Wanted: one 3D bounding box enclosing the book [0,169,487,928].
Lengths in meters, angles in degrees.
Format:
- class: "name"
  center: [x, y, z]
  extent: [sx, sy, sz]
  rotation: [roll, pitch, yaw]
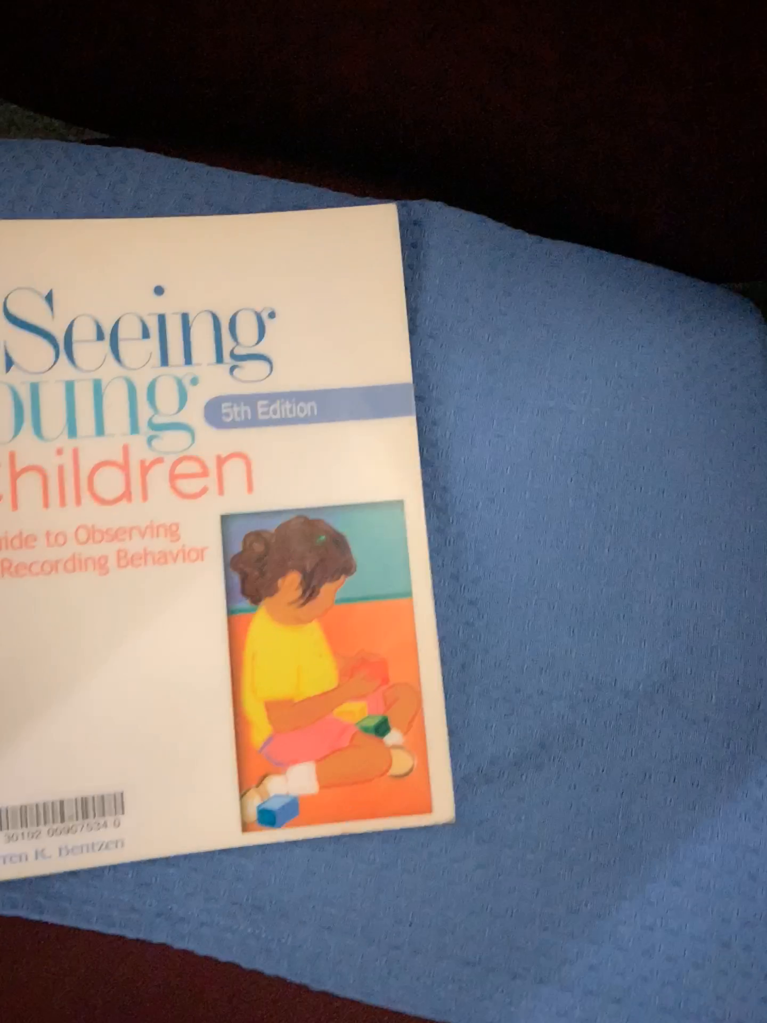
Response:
- class: "book"
  center: [-0.074, 0.005, 0.295]
  extent: [0.200, 0.030, 0.250]
  rotation: [-5, 89, -8]
